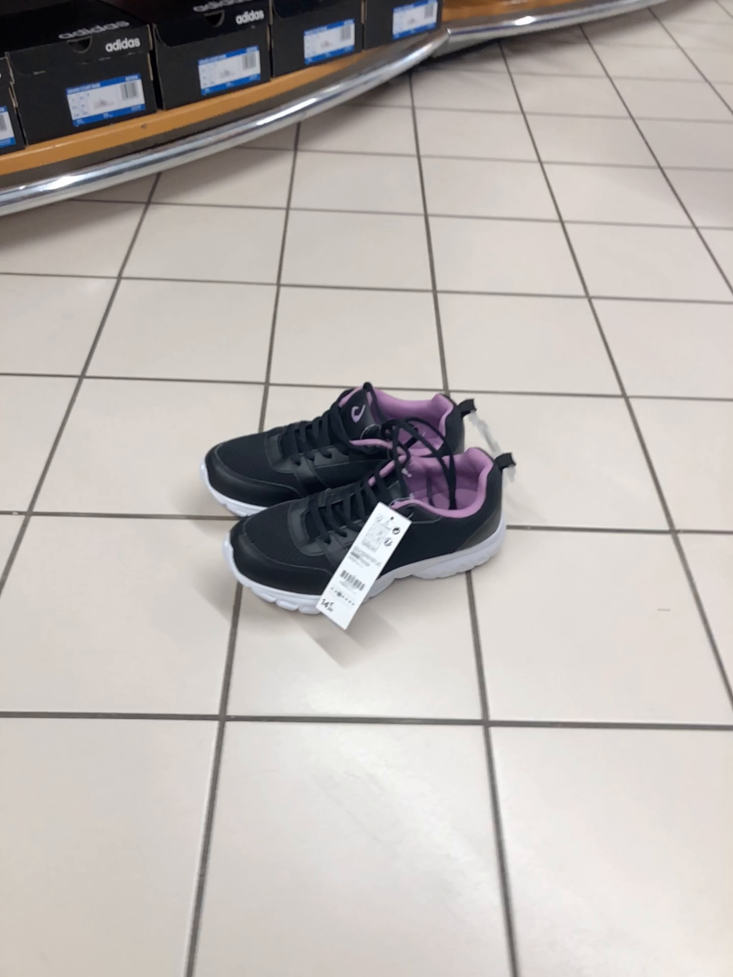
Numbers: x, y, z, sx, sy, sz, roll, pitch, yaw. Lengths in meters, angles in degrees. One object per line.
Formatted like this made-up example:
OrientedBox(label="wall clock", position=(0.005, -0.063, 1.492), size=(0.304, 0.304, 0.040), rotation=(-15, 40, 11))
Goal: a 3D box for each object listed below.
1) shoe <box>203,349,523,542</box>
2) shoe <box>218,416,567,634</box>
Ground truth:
OrientedBox(label="shoe", position=(-0.006, -0.043, 0.736), size=(0.260, 0.090, 0.110), rotation=(-9, 48, -13))
OrientedBox(label="shoe", position=(0.017, 0.027, 0.680), size=(0.260, 0.090, 0.110), rotation=(-9, 51, -13))
